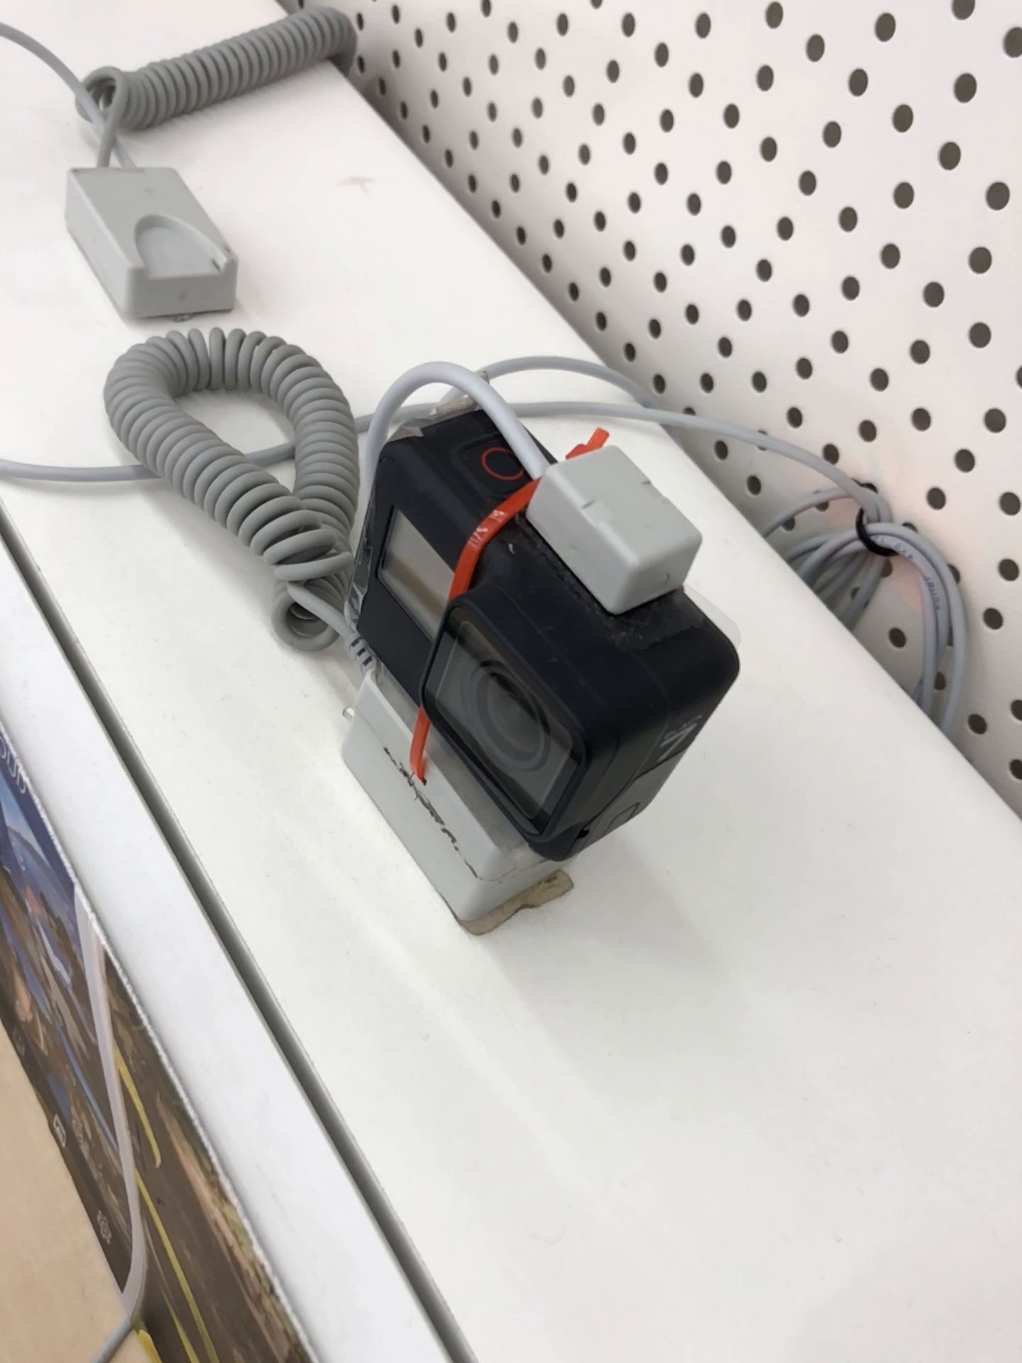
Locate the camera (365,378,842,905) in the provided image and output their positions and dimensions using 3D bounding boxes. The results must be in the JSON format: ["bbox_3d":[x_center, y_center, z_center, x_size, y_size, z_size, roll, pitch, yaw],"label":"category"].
[{"bbox_3d":[0.010,-0.007,0.182,0.029,0.044,0.067,-25,65,-33],"label":"camera"}]
